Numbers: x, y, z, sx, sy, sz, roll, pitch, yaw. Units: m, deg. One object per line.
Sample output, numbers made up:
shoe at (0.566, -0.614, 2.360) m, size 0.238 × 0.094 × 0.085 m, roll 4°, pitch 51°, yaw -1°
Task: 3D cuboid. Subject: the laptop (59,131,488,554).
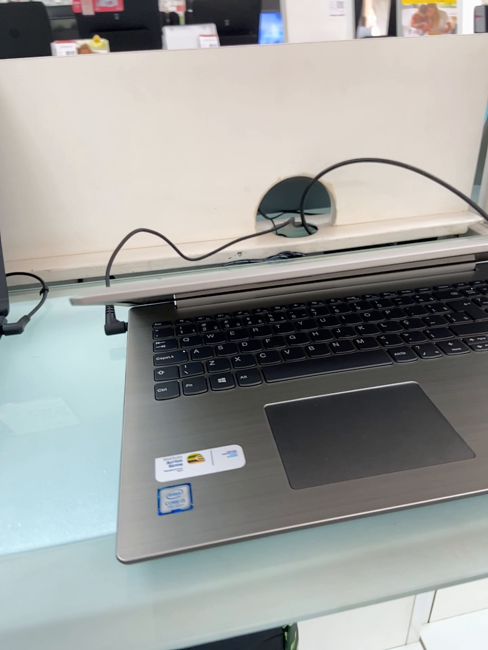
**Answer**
laptop at (0.097, -0.030, 0.334) m, size 0.369 × 0.114 × 0.247 m, roll -8°, pitch 31°, yaw -7°
